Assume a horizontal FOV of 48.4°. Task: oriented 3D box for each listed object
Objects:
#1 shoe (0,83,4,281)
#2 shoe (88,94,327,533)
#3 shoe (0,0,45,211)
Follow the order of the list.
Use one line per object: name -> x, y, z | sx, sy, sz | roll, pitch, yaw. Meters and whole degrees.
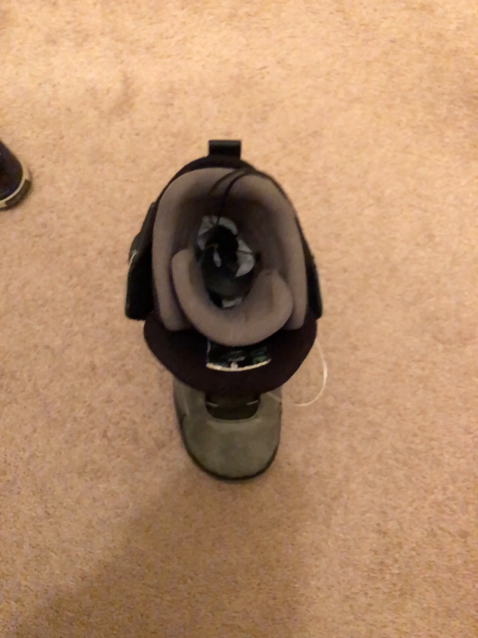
shoe -> -0.431, -0.145, 0.590 | 0.283, 0.107, 0.087 | 21, 80, 3
shoe -> -0.017, 0.011, 0.468 | 0.137, 0.283, 0.273 | 1, 80, -1
shoe -> -0.413, -0.258, 0.640 | 0.303, 0.117, 0.107 | 23, 76, 3
